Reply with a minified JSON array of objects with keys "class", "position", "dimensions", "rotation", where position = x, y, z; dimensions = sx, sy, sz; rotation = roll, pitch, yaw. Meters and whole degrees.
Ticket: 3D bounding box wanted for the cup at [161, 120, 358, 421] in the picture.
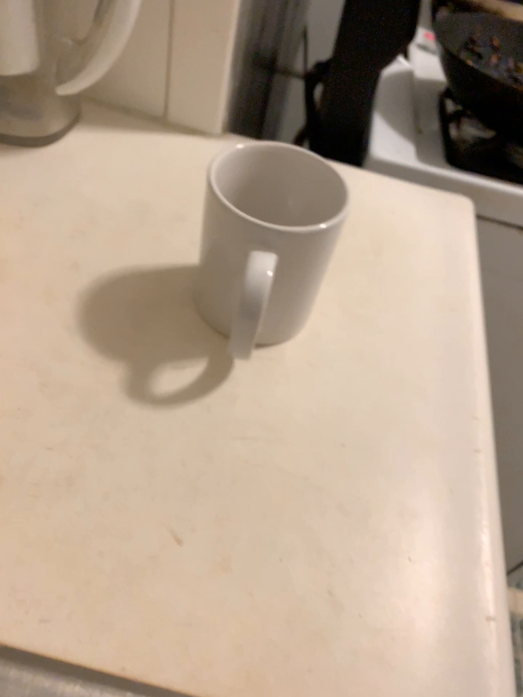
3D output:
[{"class":"cup","position":[-0.003,-0.049,0.345],"dimensions":[0.090,0.110,0.141],"rotation":[10,49,-5]}]
